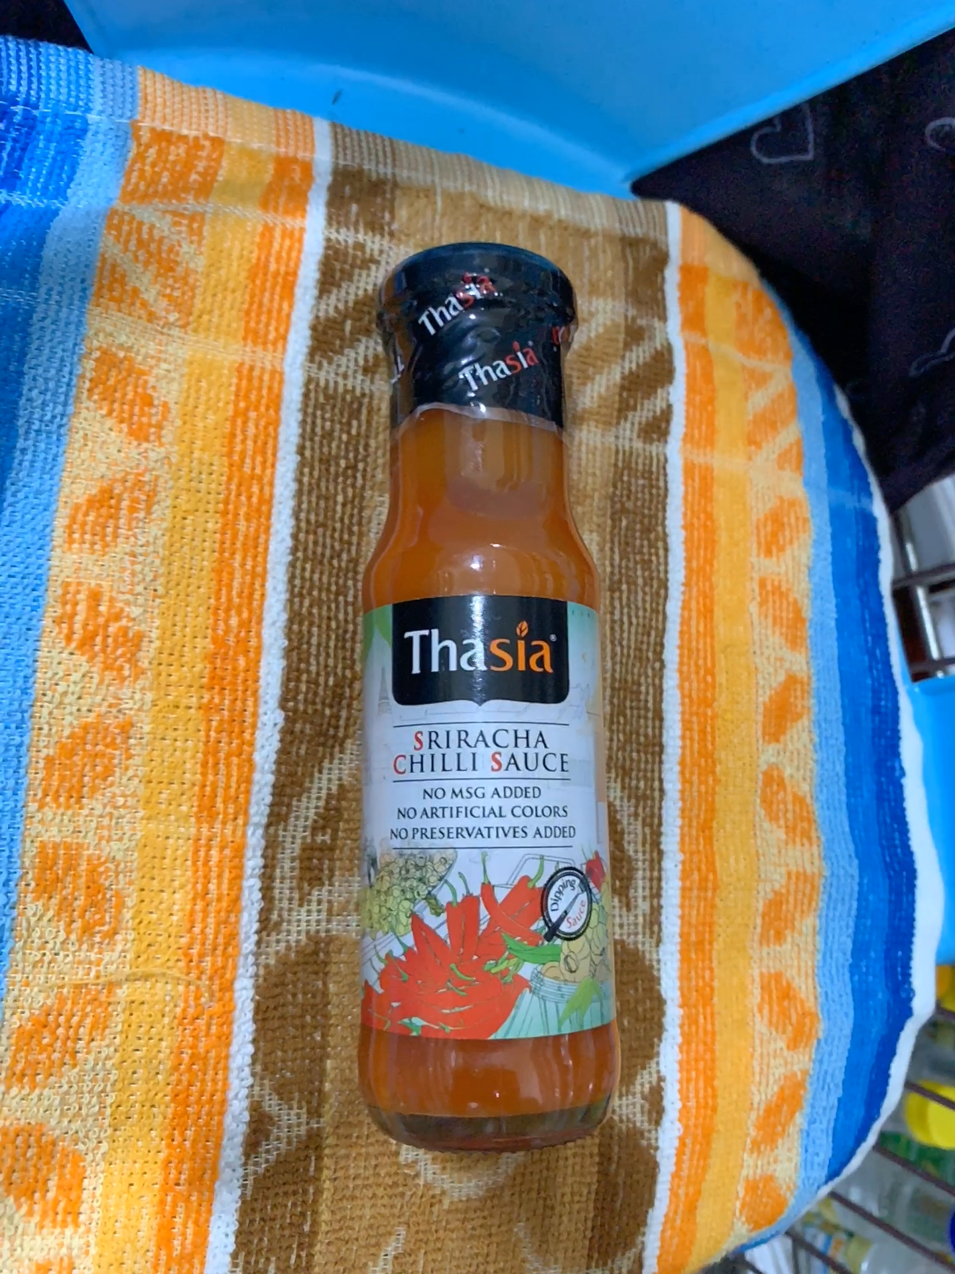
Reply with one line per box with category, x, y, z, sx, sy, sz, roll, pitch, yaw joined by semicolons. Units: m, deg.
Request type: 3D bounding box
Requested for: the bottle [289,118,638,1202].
bottle;-0.005;-0.002;0.189;0.050;0.050;0.180;1;76;-6
